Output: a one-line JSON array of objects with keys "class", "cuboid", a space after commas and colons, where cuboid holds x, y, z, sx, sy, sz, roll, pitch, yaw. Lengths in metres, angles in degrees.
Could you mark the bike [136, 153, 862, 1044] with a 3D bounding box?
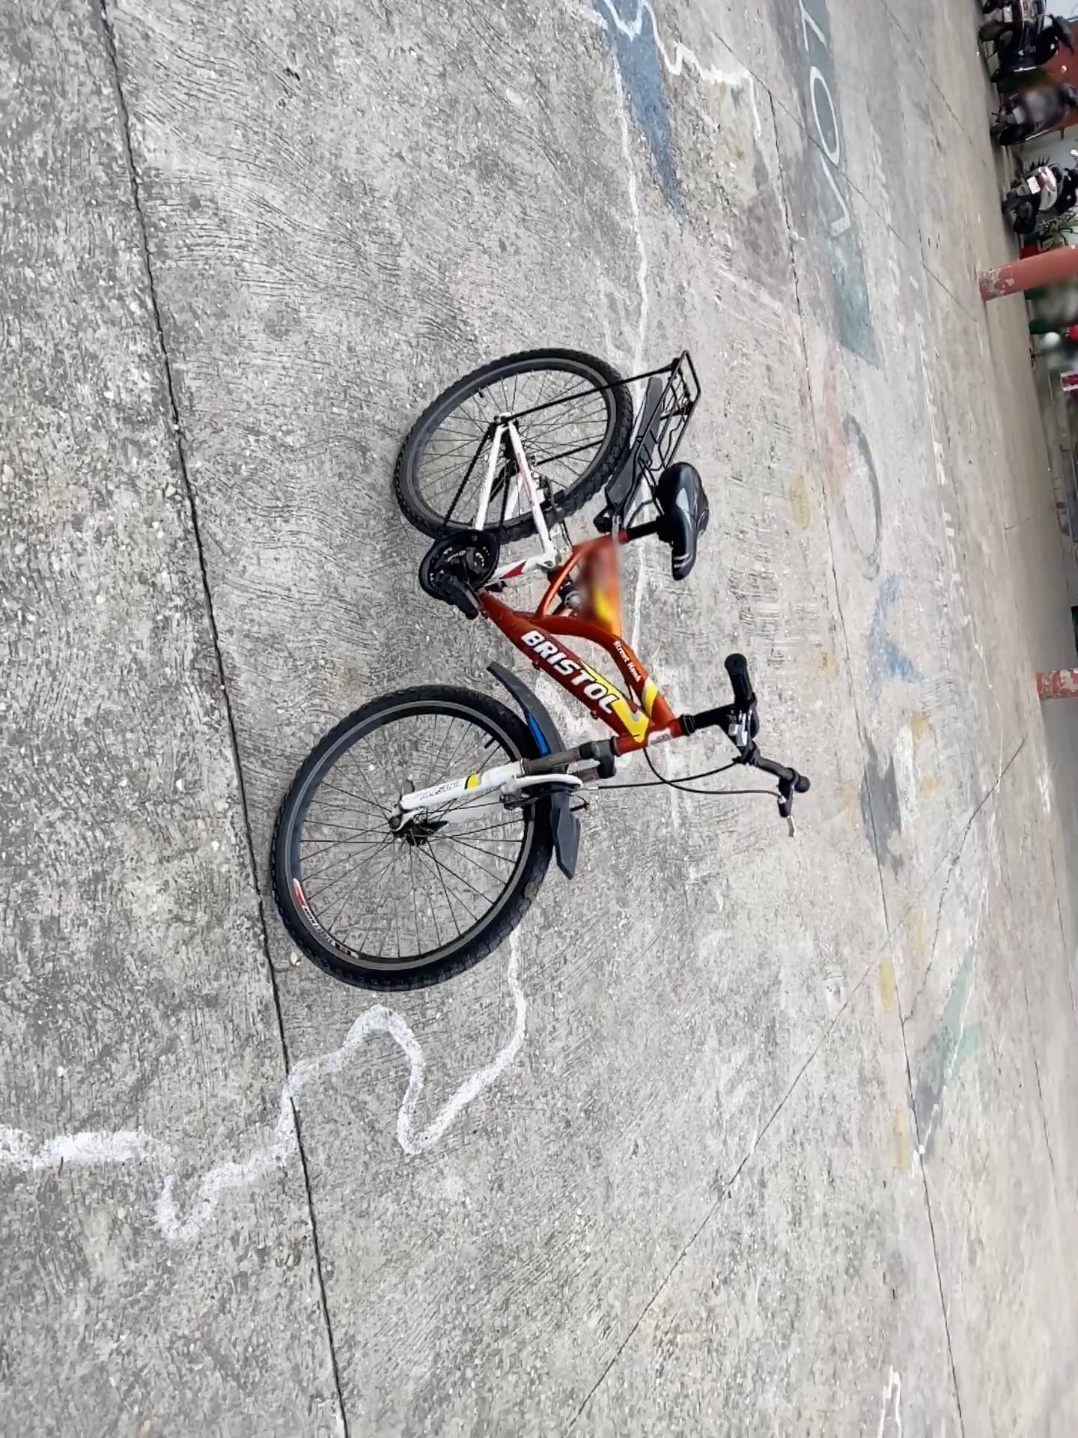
[{"class": "bike", "cuboid": [0.027, -0.203, 2.141, 0.587, 0.976, 1.514, 44, 49, -47]}]
